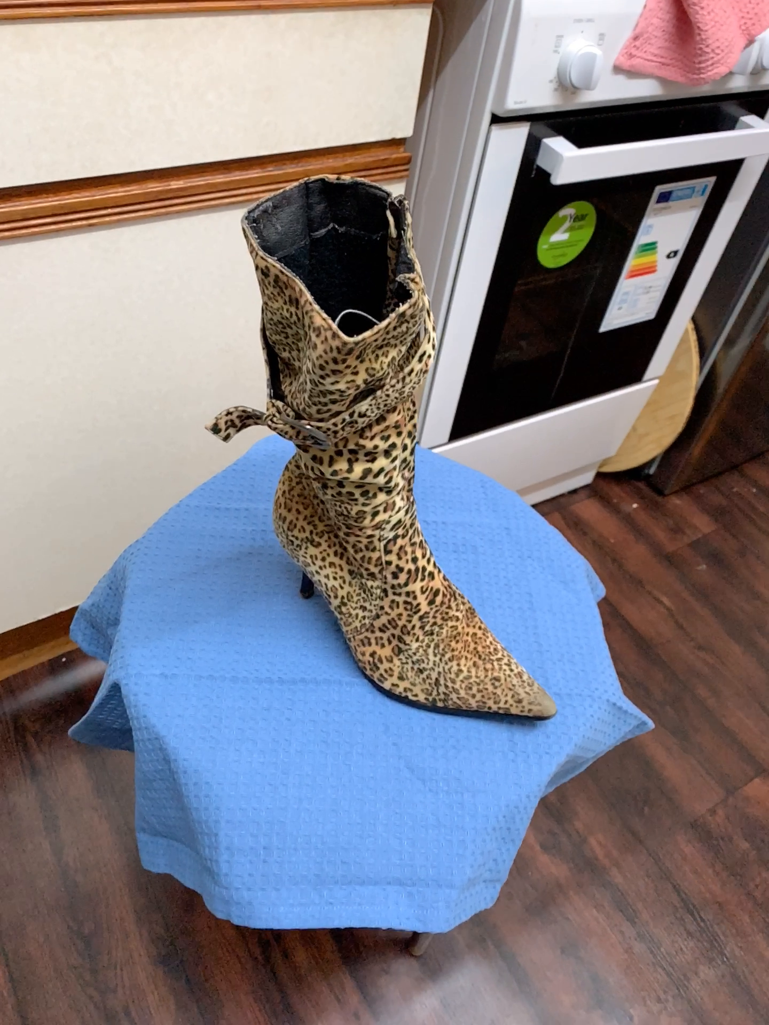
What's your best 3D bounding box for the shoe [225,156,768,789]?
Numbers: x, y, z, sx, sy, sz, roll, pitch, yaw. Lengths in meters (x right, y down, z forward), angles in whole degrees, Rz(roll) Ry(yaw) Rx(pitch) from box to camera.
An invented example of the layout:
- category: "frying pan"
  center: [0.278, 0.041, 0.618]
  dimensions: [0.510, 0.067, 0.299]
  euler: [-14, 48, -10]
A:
- category: "shoe"
  center: [0.033, -0.004, 0.520]
  dimensions: [0.260, 0.347, 0.101]
  euler: [28, 48, 16]
